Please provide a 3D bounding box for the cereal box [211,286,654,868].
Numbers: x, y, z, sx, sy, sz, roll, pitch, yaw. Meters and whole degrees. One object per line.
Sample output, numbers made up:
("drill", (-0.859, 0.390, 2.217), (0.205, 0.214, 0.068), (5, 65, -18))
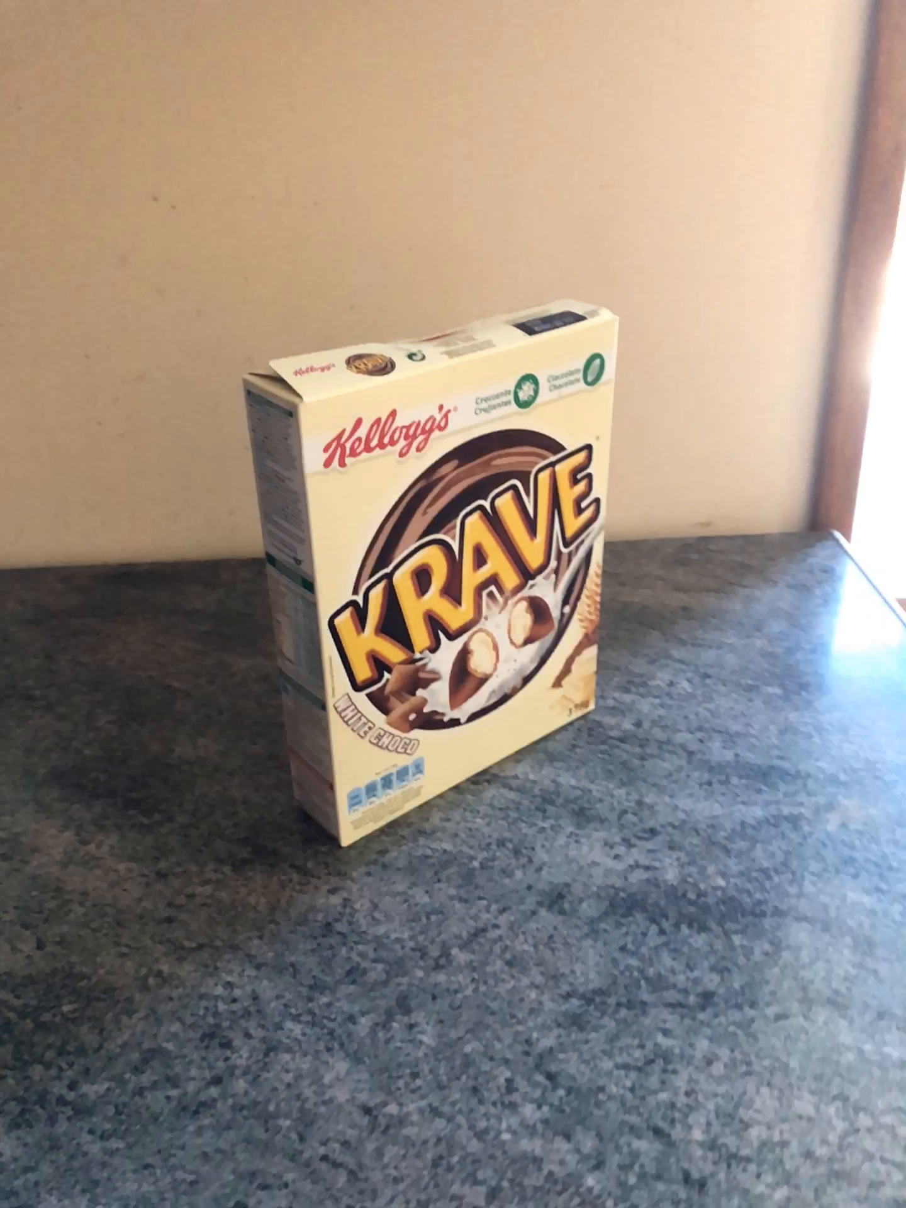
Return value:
("cereal box", (-0.005, -0.021, 0.526), (0.211, 0.248, 0.070), (-22, 38, -36))
